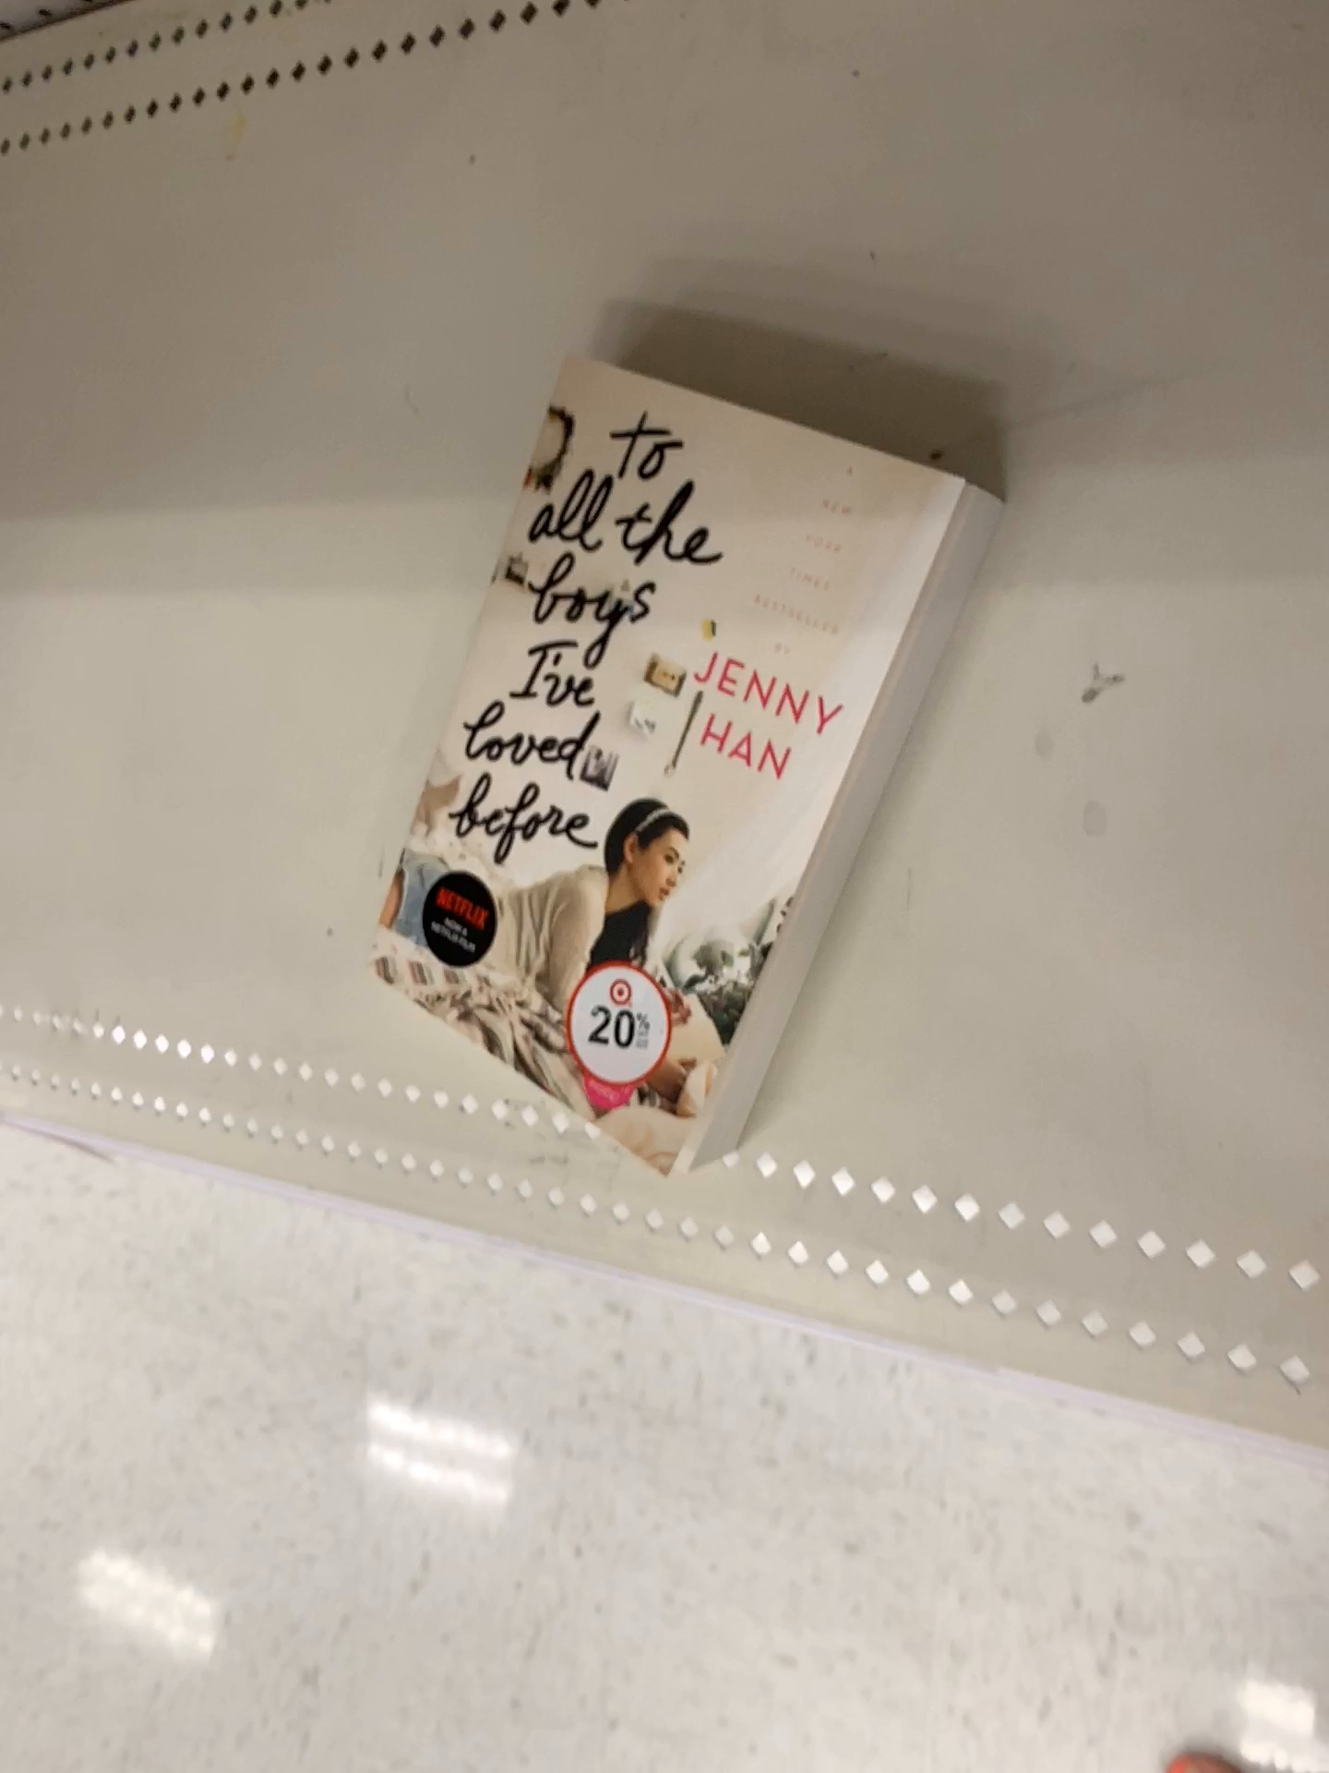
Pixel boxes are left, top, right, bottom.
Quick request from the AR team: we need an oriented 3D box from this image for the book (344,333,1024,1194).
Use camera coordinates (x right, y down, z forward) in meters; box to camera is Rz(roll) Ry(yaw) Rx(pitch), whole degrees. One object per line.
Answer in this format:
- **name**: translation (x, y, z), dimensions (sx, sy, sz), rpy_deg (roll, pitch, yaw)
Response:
- **book**: translation (-0.004, -0.039, 0.418), dimensions (0.144, 0.034, 0.213), rpy_deg (27, 105, 25)
